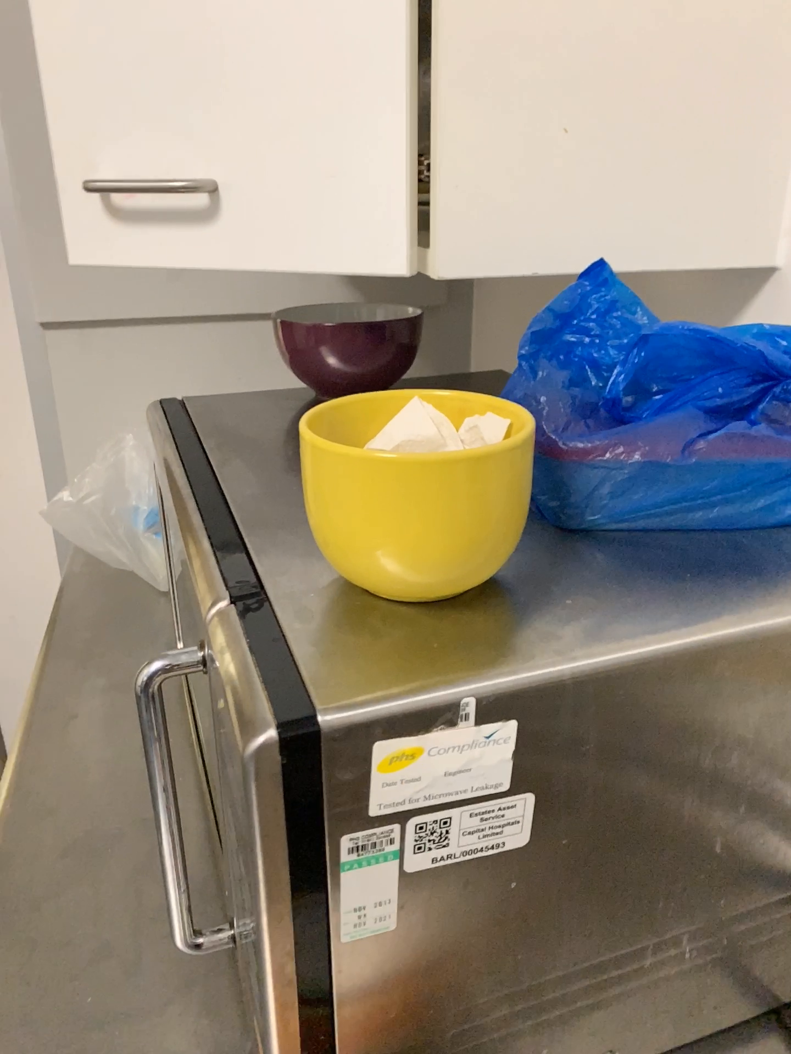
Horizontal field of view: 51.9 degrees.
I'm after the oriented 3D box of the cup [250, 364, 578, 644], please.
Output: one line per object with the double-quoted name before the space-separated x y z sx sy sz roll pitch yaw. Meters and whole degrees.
"cup" -0.001 -0.024 0.420 0.116 0.082 0.155 -8 24 -18
